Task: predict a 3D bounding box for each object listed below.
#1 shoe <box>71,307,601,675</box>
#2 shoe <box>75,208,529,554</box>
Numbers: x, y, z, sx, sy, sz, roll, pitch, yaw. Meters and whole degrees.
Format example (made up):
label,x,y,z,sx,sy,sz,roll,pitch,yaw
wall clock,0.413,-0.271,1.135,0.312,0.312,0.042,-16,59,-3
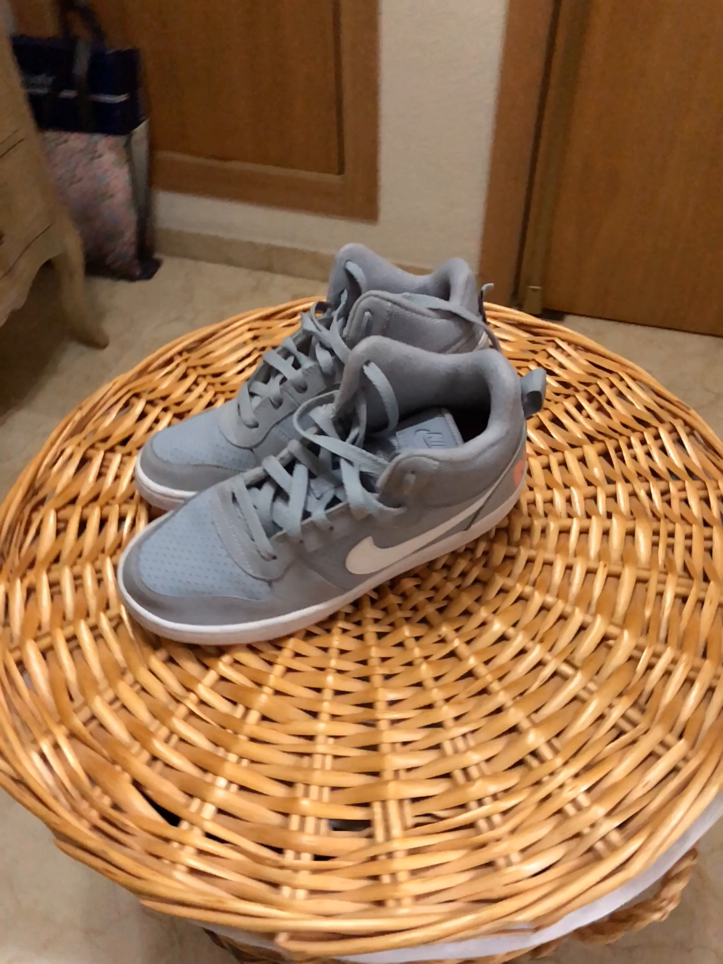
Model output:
label,x,y,z,sx,sy,sz,roll,pitch,yaw
shoe,-0.015,0.004,0.450,0.247,0.117,0.099,-16,59,-13
shoe,-0.034,-0.066,0.513,0.251,0.120,0.105,-16,49,-6
